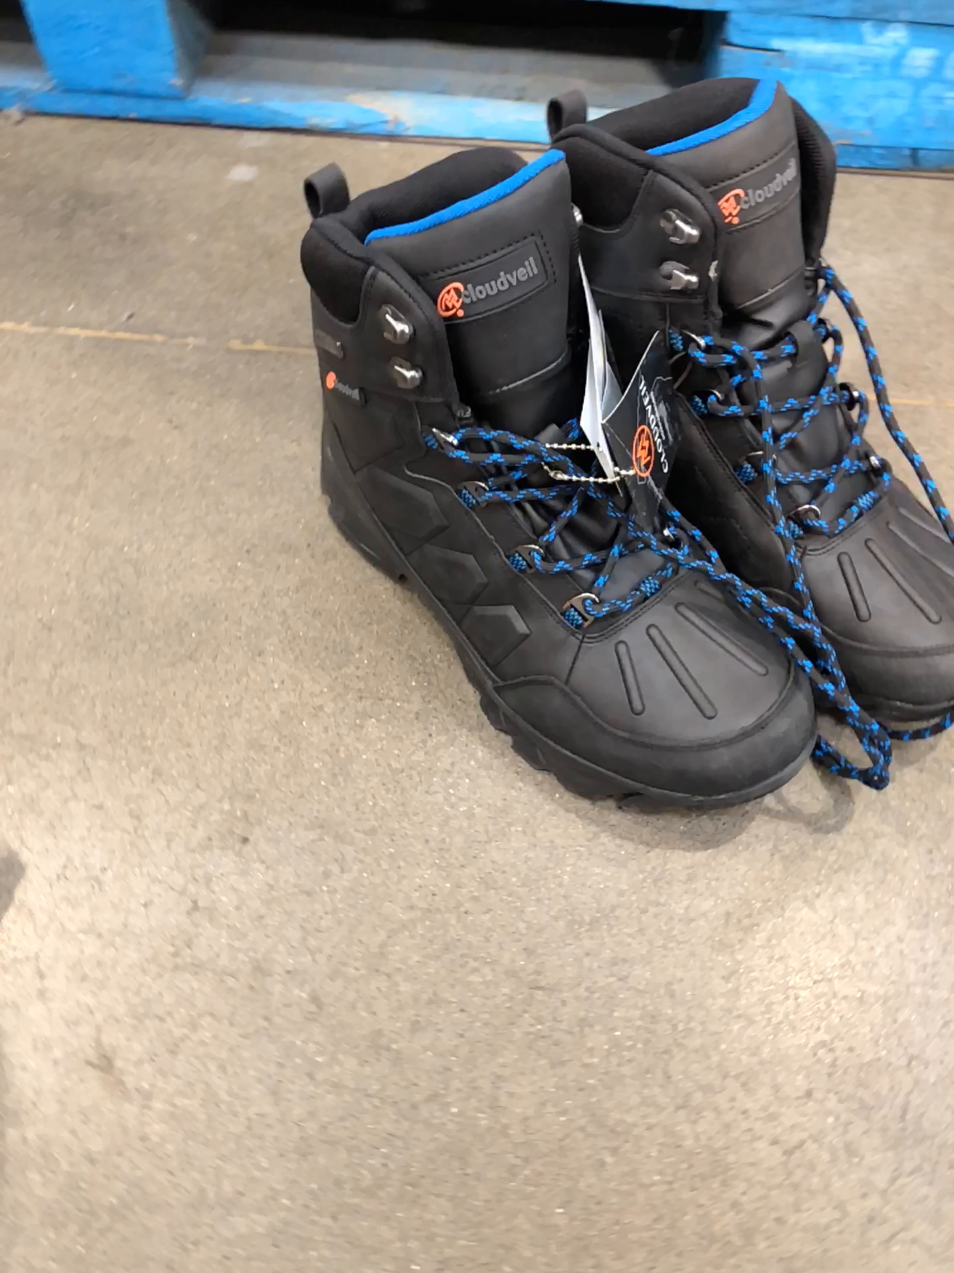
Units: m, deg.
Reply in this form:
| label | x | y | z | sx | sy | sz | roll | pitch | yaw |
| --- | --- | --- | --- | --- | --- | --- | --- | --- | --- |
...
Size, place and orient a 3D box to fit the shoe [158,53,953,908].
| label | x | y | z | sx | sy | sz | roll | pitch | yaw |
| --- | --- | --- | --- | --- | --- | --- | --- | --- | --- |
| shoe | 0.023 | -0.063 | 0.459 | 0.120 | 0.210 | 0.300 | -38 | 66 | -20 |

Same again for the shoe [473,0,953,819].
| label | x | y | z | sx | sy | sz | roll | pitch | yaw |
| --- | --- | --- | --- | --- | --- | --- | --- | --- | --- |
| shoe | 0.136 | -0.103 | 0.481 | 0.120 | 0.210 | 0.300 | -32 | 64 | -18 |
